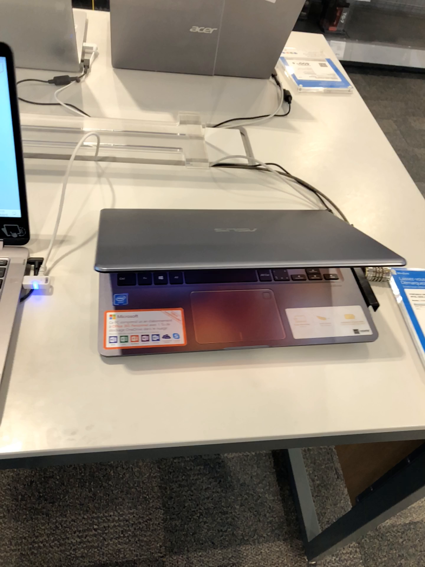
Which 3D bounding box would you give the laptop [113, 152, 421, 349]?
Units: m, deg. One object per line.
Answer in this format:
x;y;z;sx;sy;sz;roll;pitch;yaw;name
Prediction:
0.041;-0.045;0.540;0.300;0.099;0.201;-1;50;-13;laptop
